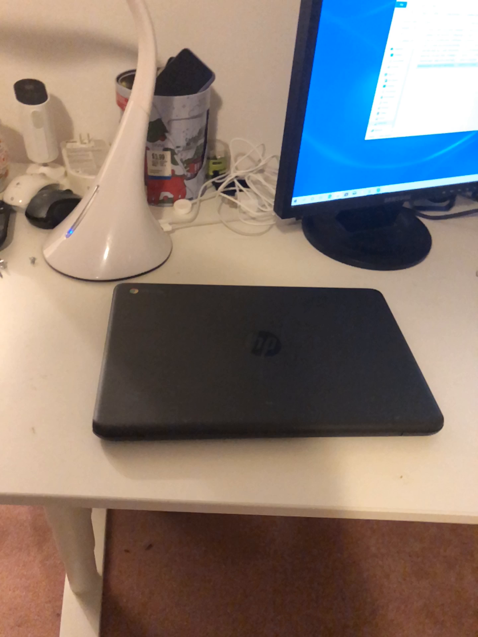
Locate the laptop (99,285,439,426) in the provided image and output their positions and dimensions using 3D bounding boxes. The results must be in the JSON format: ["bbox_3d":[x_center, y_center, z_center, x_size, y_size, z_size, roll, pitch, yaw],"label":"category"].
[{"bbox_3d":[0.025,0.031,0.574,0.325,0.001,0.210,1,40,-8],"label":"laptop"}]
